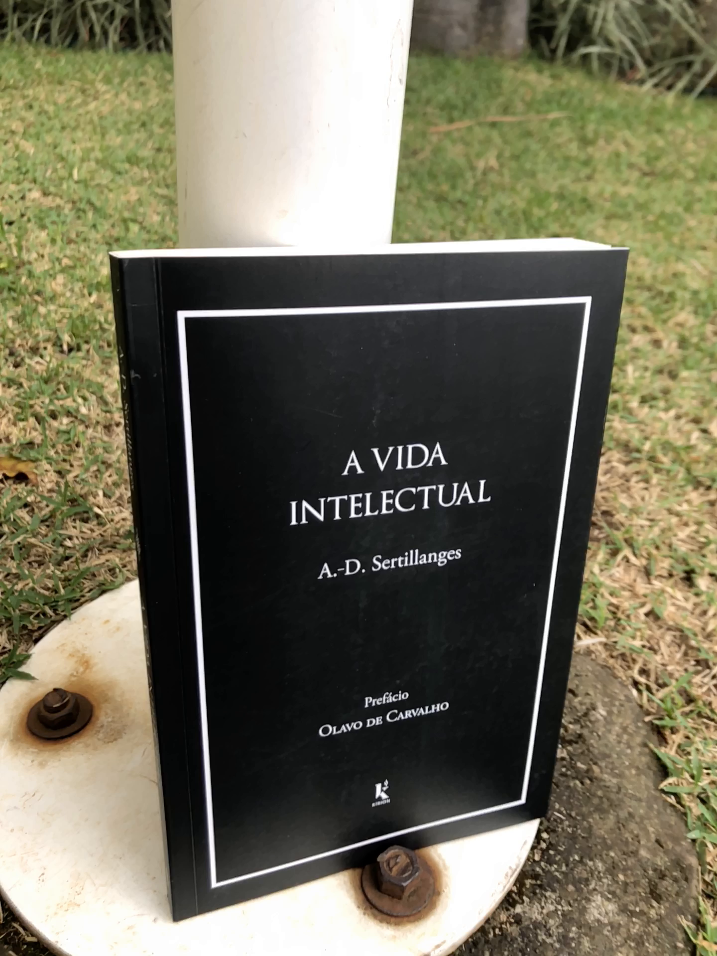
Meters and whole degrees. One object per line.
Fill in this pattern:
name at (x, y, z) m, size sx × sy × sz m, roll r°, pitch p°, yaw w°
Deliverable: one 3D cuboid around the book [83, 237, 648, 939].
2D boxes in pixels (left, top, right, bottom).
book at (0.005, 0.033, 0.233) m, size 0.141 × 0.193 × 0.025 m, roll -7°, pitch 22°, yaw -18°
